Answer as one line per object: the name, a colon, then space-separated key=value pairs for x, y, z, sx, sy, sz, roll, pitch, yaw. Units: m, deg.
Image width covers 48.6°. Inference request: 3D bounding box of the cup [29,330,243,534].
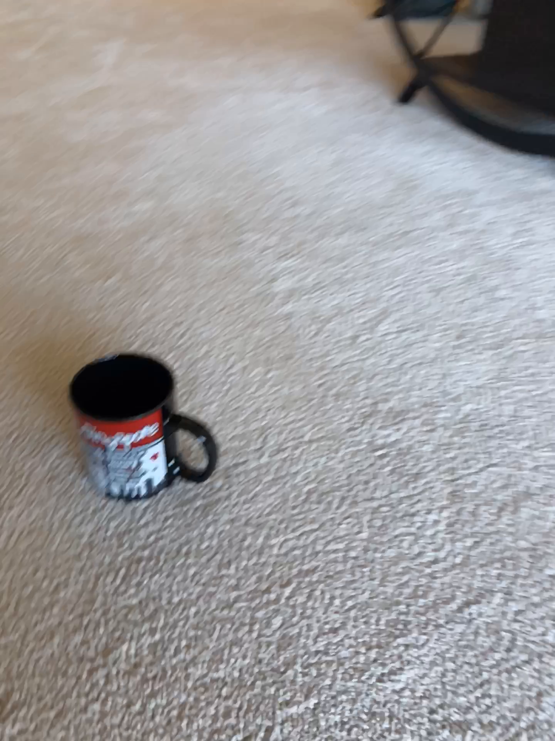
cup: x=-0.107 y=0.045 z=0.495 sx=0.130 sy=0.090 sz=0.090 roll=19 pitch=42 yaw=20
